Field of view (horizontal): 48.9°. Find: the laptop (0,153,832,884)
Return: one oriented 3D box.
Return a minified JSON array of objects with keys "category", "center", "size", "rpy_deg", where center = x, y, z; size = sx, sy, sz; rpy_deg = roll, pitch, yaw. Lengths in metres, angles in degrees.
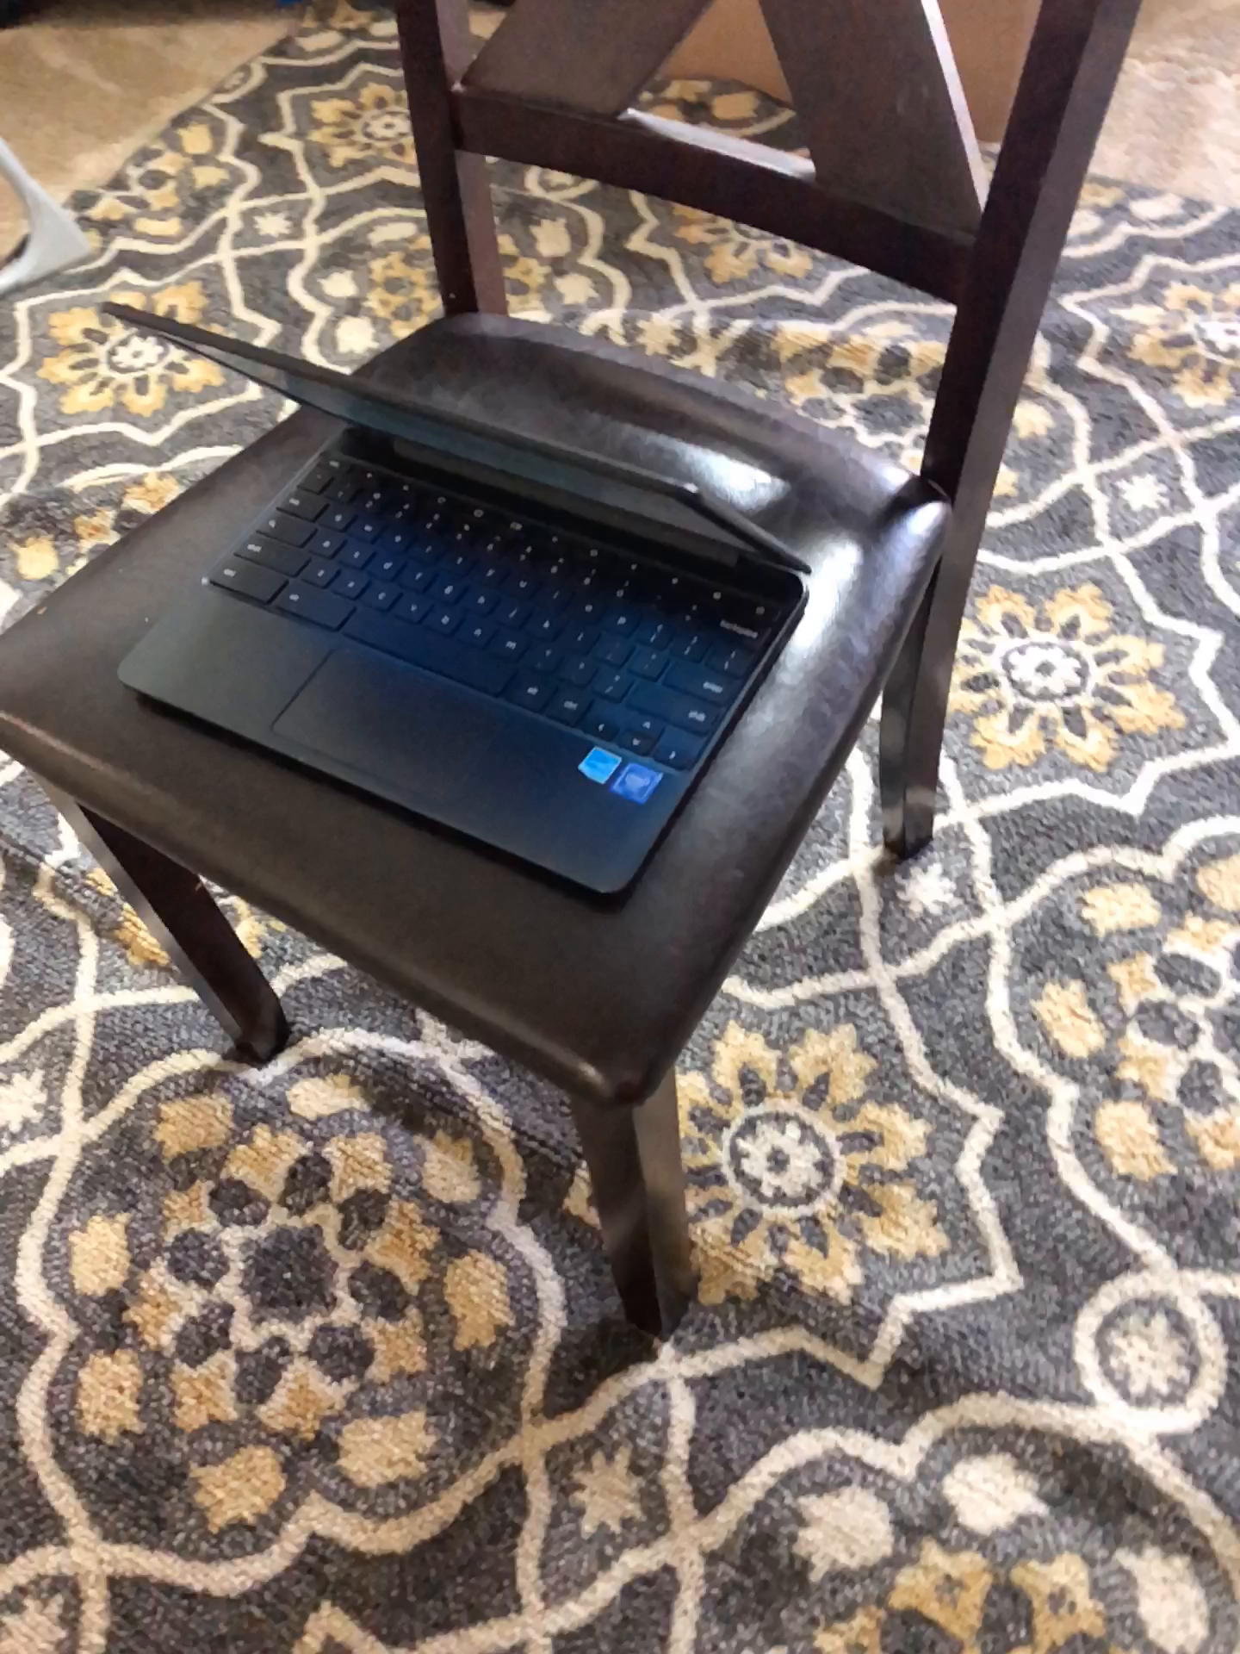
[{"category":"laptop","center":[-0.075,-0.139,0.594],"size":[0.263,0.155,0.191],"rpy_deg":[23,61,18]}]
